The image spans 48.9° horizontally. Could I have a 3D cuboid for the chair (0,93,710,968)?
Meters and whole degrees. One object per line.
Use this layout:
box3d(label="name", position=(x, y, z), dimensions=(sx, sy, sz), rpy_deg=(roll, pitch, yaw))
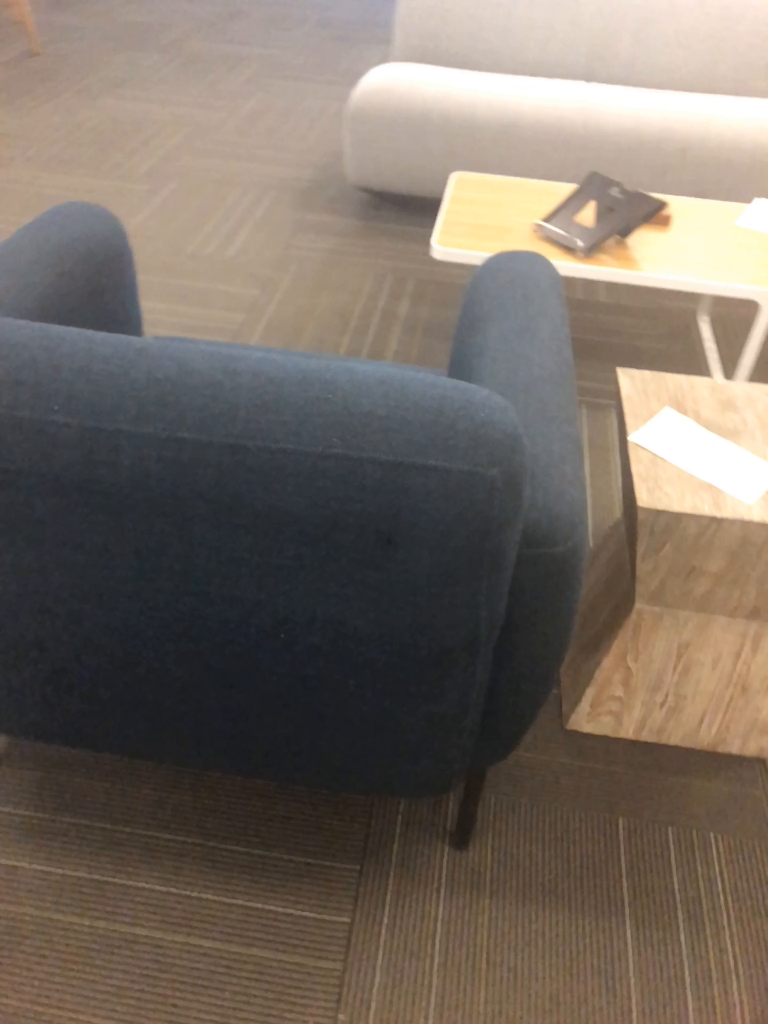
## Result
box3d(label="chair", position=(-0.174, -0.025, 1.225), dimensions=(0.920, 0.783, 0.848), rpy_deg=(8, 41, 4))
